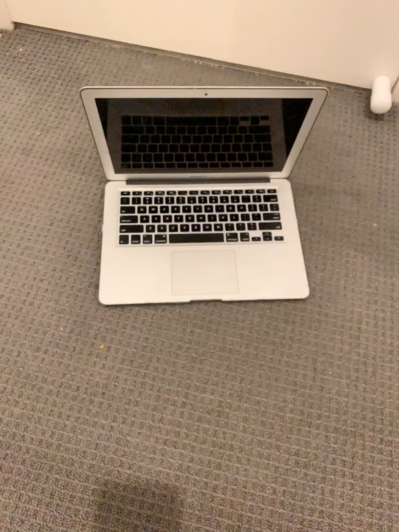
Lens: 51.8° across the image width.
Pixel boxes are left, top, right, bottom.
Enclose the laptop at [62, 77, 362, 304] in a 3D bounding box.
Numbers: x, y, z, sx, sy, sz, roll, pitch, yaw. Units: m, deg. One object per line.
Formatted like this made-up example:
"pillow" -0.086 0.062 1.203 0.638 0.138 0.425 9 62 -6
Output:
"laptop" 0.007 -0.098 0.585 0.322 0.215 0.227 -2 64 -4
